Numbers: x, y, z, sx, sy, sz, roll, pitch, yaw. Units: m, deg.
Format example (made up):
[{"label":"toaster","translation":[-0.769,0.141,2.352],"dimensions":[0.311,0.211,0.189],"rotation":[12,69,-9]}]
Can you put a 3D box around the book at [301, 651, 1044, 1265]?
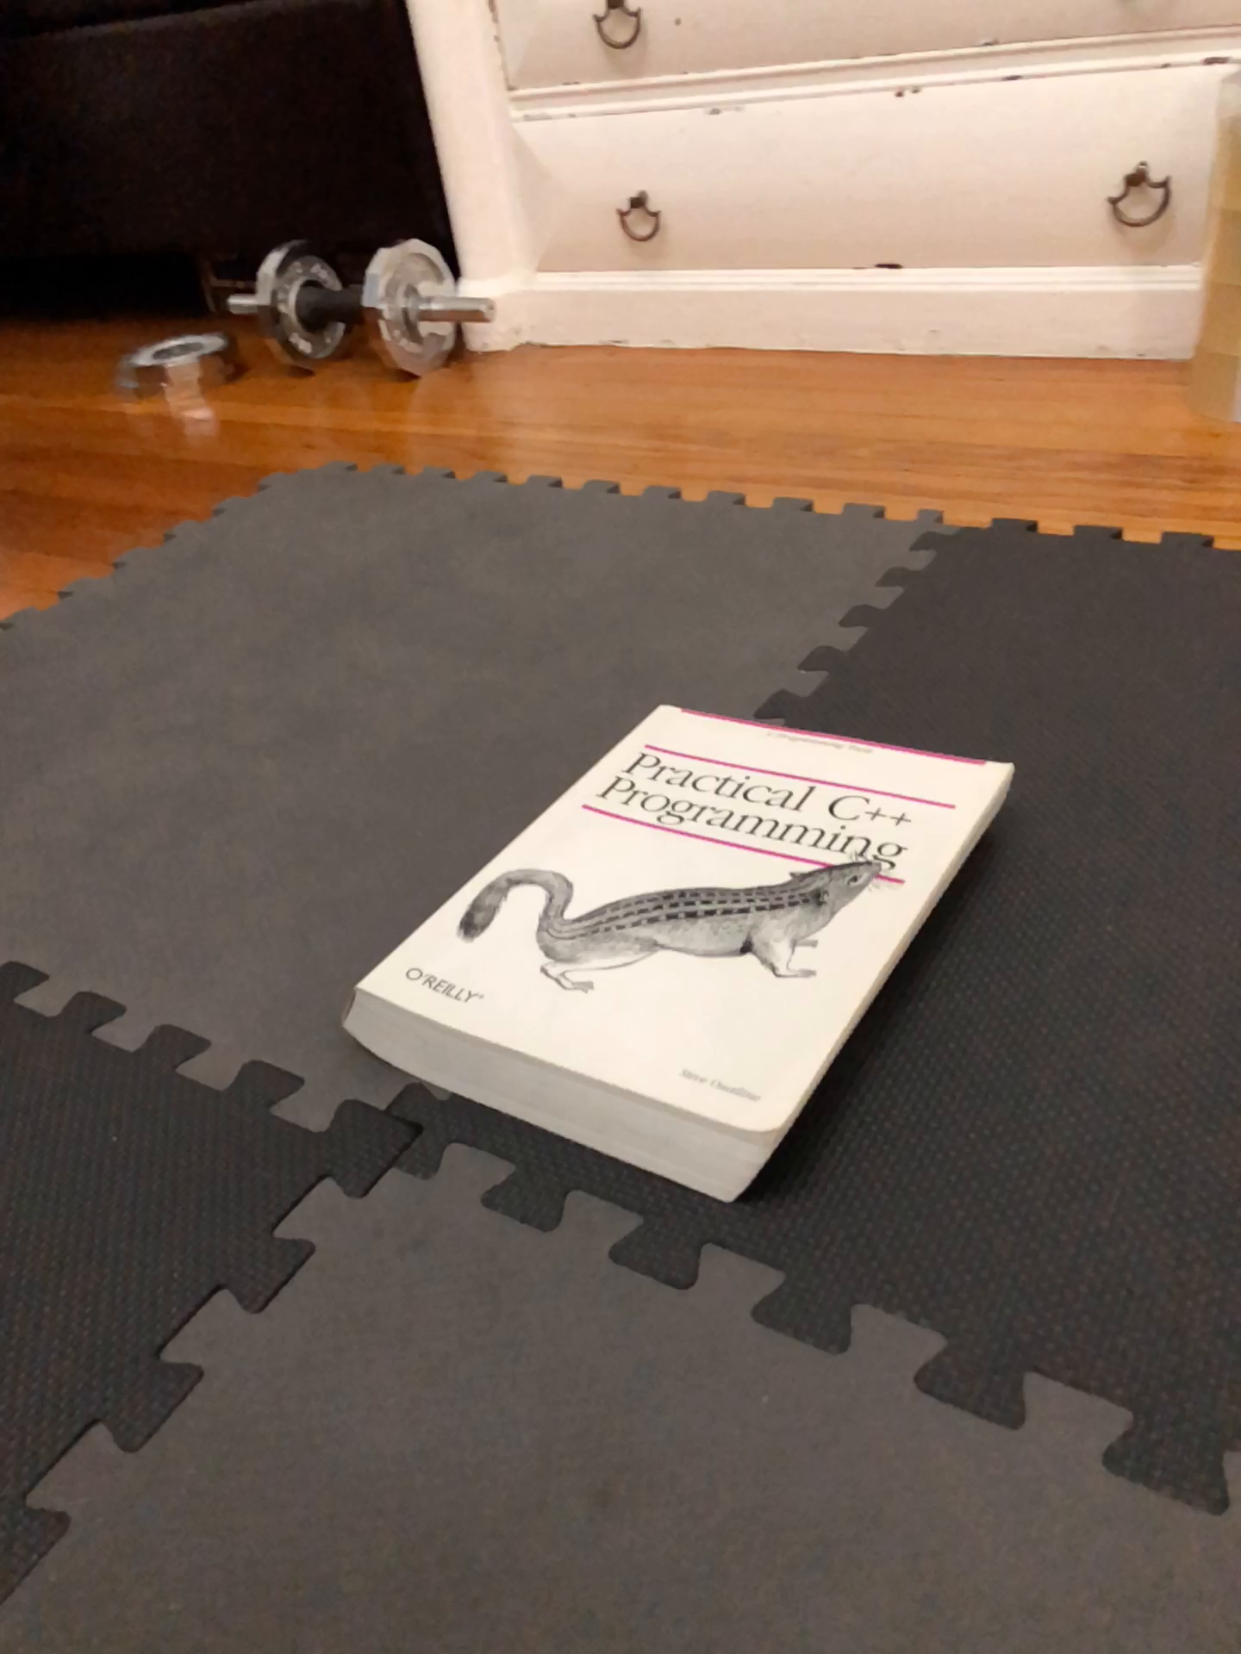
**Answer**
[{"label":"book","translation":[0.032,0.029,0.562],"dimensions":[0.200,0.050,0.251],"rotation":[18,43,27]}]
